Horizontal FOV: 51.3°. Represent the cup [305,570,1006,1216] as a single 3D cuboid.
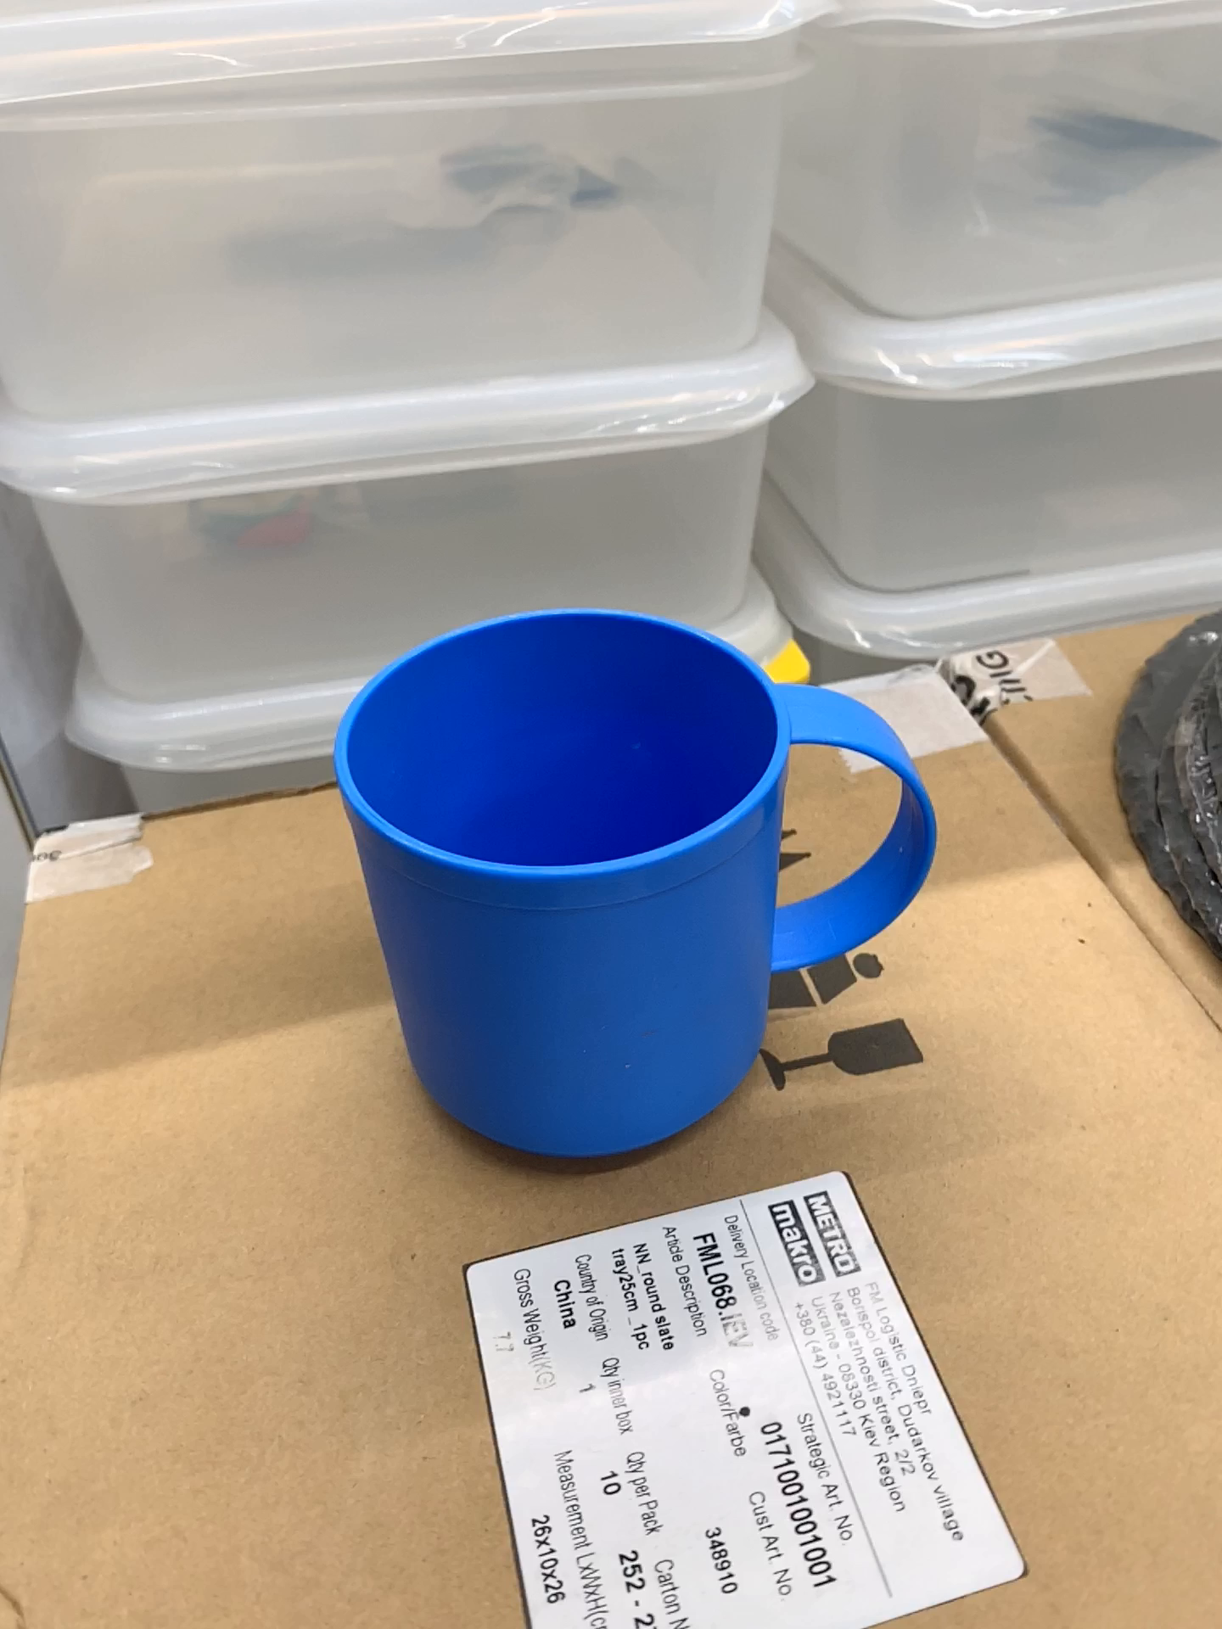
[{"bbox_3d":[0.003,0.011,0.251,0.109,0.071,0.089,-8,39,-6],"label":"cup"}]
